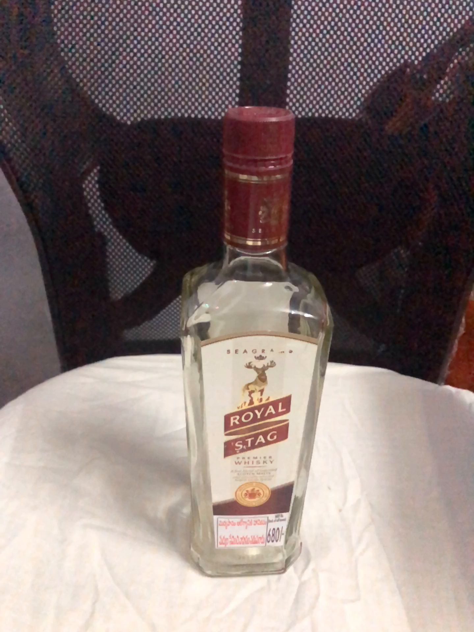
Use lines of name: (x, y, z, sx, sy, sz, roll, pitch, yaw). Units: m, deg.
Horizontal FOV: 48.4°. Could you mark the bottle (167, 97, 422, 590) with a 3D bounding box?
bottle: (0.012, 0.039, 0.284, 0.090, 0.279, 0.060, 2, 32, -3)
